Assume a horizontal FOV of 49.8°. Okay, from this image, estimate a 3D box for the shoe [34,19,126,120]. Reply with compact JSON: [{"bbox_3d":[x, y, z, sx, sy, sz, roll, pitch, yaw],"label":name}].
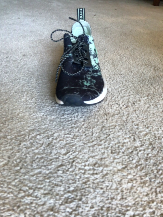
[{"bbox_3d":[0.000,-0.112,0.395,0.131,0.100,0.289,3,38,0],"label":"shoe"}]
